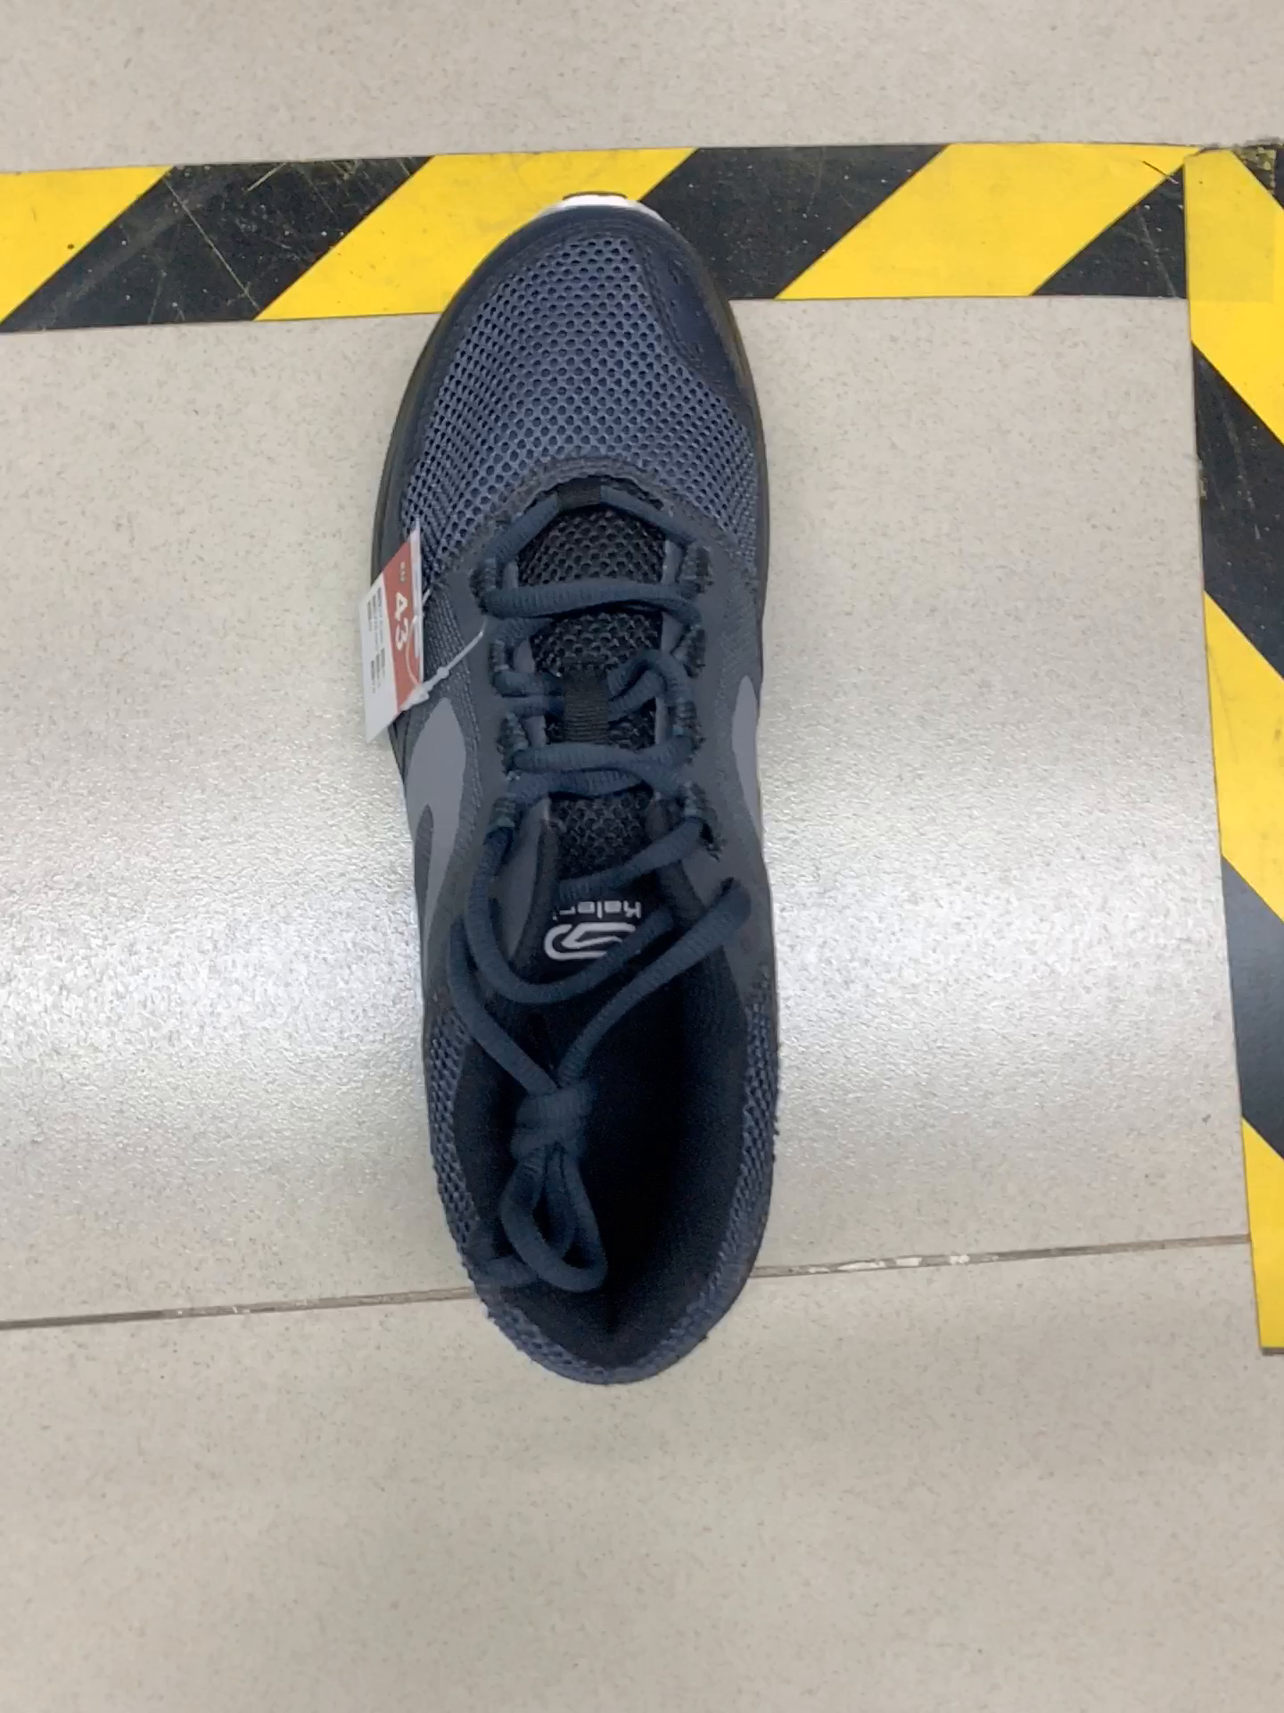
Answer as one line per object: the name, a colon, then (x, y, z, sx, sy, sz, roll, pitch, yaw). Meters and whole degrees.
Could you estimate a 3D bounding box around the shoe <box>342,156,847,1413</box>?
shoe: (-0.012, -0.018, 0.328, 0.110, 0.070, 0.280, 0, 87, -3)
